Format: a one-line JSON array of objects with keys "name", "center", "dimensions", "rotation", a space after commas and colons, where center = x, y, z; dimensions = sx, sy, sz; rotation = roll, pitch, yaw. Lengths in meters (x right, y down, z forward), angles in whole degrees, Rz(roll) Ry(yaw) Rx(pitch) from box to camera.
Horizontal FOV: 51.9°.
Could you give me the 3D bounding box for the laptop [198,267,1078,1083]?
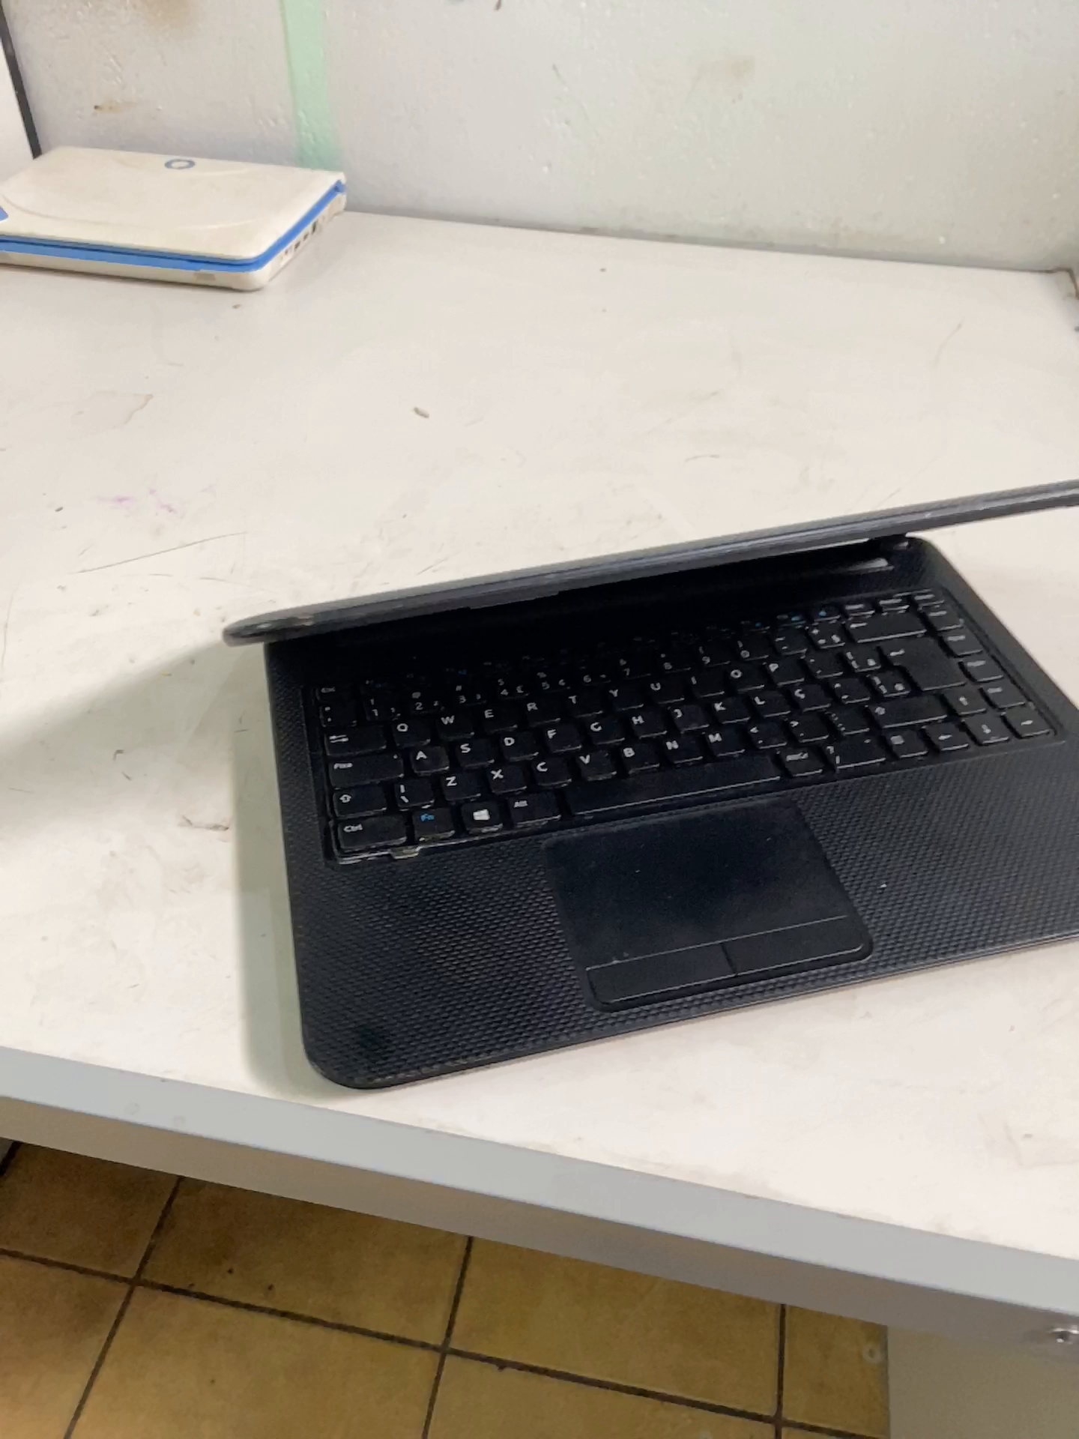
[{"name": "laptop", "center": [0.059, -0.040, 0.413], "dimensions": [0.330, 0.141, 0.231], "rotation": [-9, 44, -11]}]
